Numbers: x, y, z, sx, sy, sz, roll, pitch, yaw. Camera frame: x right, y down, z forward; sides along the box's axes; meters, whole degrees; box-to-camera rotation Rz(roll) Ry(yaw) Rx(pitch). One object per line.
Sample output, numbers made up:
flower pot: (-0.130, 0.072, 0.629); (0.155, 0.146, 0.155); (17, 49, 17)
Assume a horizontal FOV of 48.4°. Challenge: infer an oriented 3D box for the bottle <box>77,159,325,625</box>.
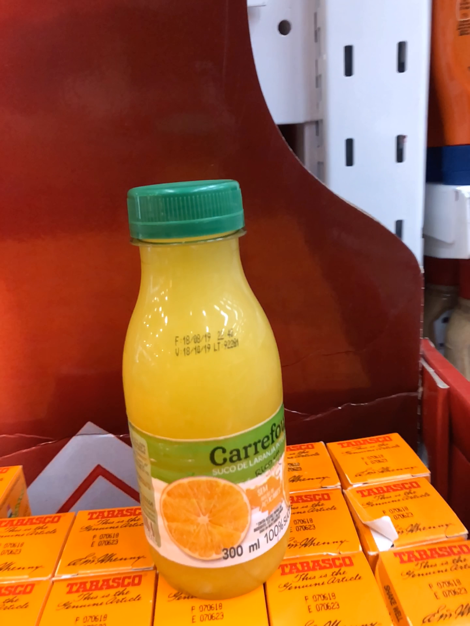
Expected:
bottle: (-0.008, 0.023, 0.195); (0.060, 0.149, 0.050); (-18, 20, -39)
